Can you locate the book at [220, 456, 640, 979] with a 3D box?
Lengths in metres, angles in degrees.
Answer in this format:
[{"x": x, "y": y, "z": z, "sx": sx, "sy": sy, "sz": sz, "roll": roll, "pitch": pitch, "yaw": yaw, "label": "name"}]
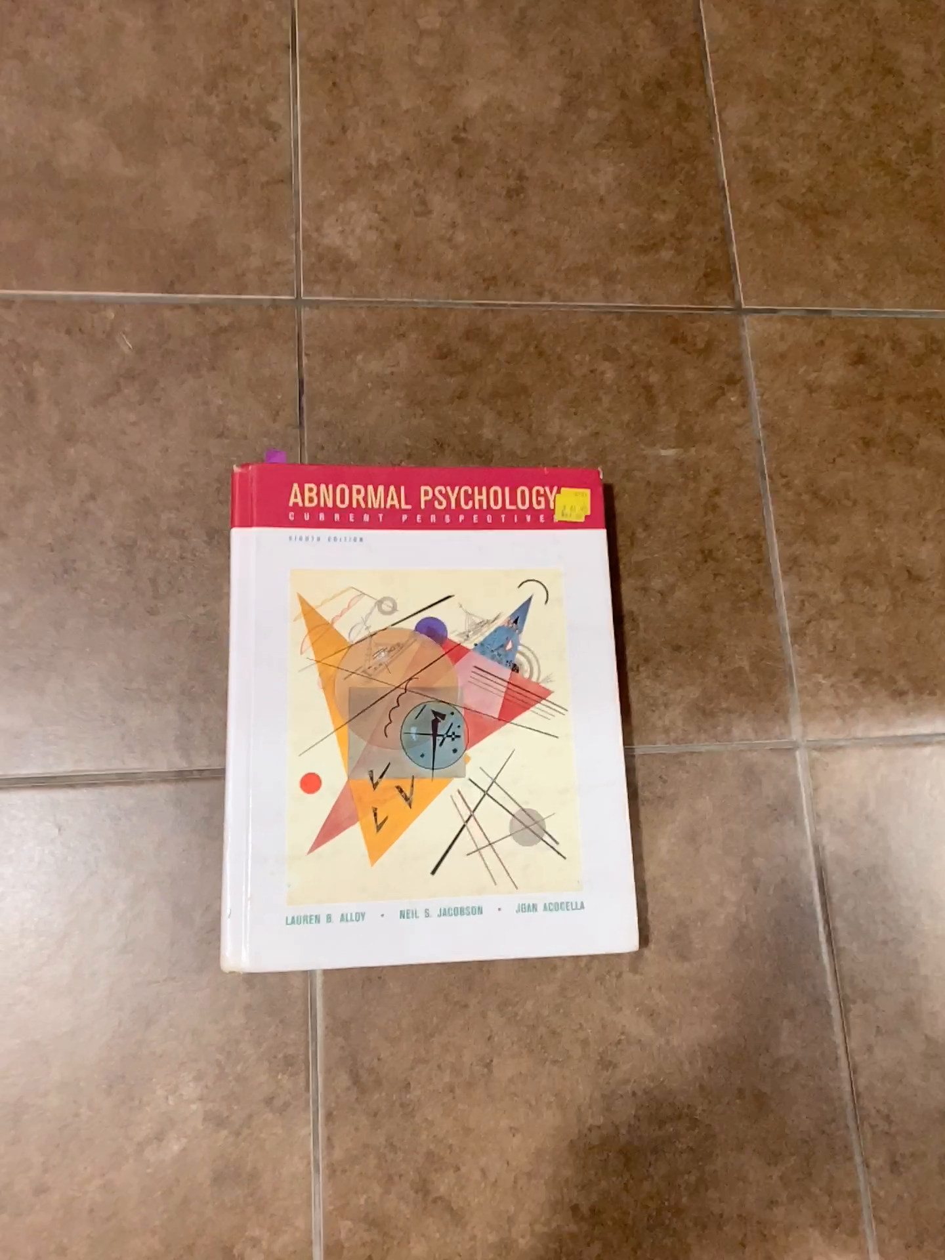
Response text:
[{"x": -0.027, "y": 0.041, "z": 0.557, "sx": 0.222, "sy": 0.032, "sz": 0.288, "roll": -1, "pitch": 76, "yaw": -8, "label": "book"}]
